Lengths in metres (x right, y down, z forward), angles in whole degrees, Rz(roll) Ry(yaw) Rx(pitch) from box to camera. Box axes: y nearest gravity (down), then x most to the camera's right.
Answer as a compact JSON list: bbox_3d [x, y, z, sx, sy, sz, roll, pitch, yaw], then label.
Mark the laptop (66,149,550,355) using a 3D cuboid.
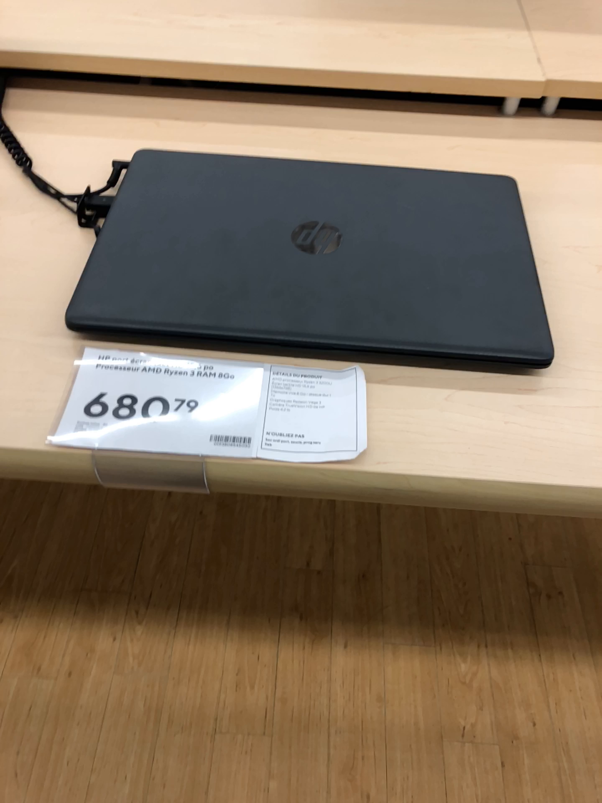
[{"bbox_3d":[0.014,-0.145,0.590,0.373,0.005,0.245,5,50,1],"label":"laptop"}]
